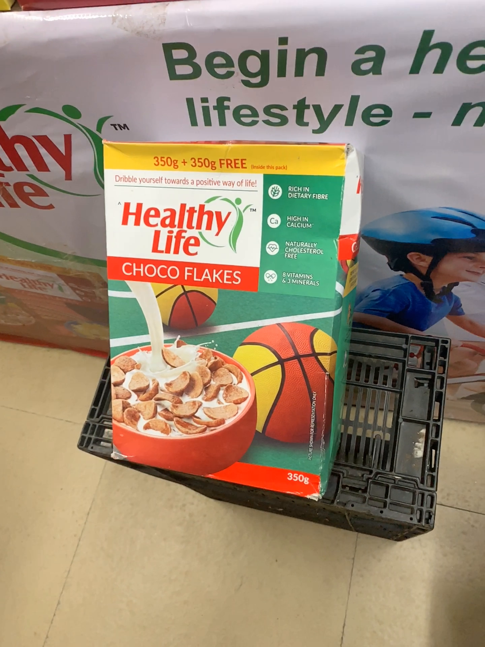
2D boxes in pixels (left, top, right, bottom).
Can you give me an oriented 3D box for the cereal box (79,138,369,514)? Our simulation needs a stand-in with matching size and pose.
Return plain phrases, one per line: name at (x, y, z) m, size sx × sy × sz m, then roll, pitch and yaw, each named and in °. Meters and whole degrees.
cereal box at (-0.015, -0.006, 0.429) m, size 0.210 × 0.090 × 0.280 m, roll 6°, pitch 106°, yaw 17°
